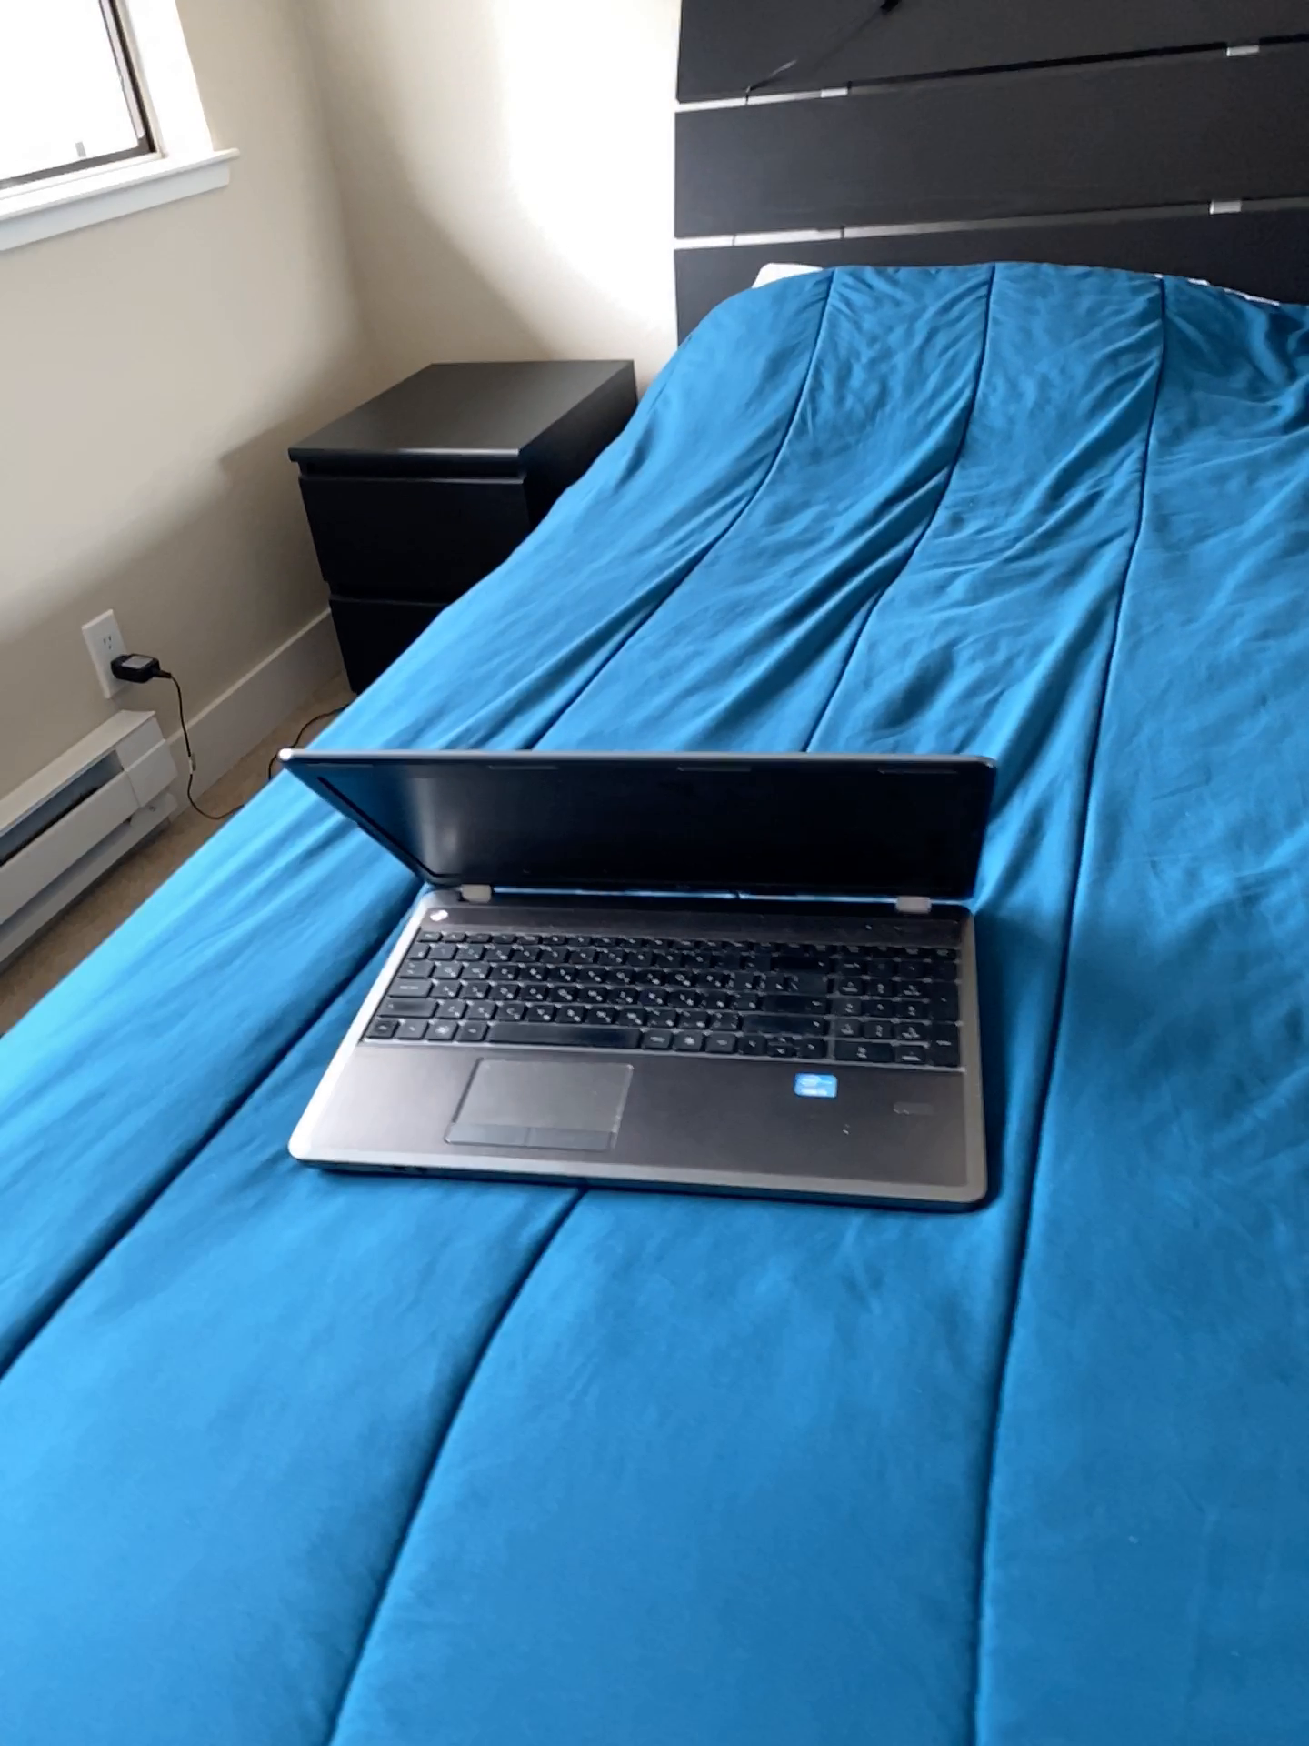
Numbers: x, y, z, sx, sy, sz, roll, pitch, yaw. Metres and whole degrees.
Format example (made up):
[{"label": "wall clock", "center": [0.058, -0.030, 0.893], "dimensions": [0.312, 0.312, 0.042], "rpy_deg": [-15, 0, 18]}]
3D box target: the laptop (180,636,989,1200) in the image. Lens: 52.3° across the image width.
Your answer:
[{"label": "laptop", "center": [-0.011, 0.008, 0.747], "dimensions": [0.369, 0.192, 0.256], "rpy_deg": [1, 33, 11]}]
